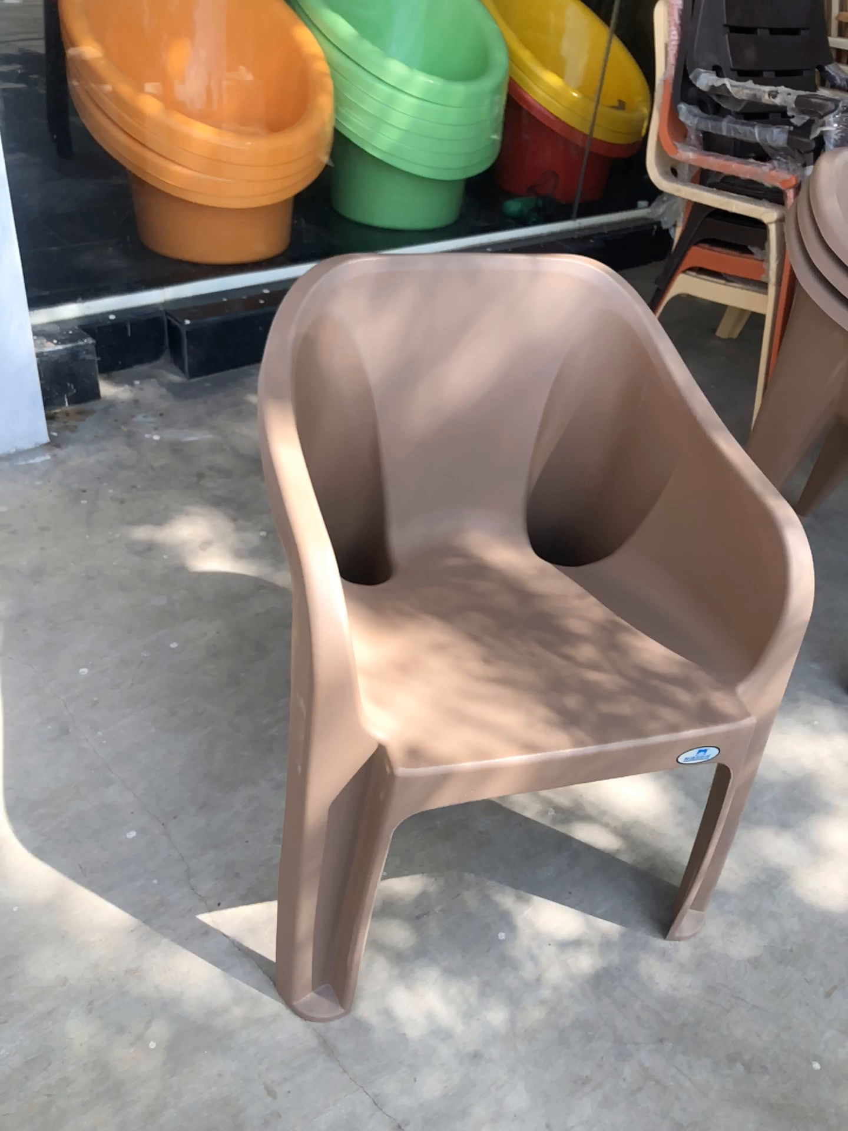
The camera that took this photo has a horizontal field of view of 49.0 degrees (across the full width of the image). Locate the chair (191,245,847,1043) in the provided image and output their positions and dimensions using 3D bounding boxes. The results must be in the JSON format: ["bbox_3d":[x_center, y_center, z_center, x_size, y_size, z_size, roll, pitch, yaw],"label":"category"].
[{"bbox_3d":[0.072,0.030,1.206,0.641,0.636,0.723,-5,38,-16],"label":"chair"}]
